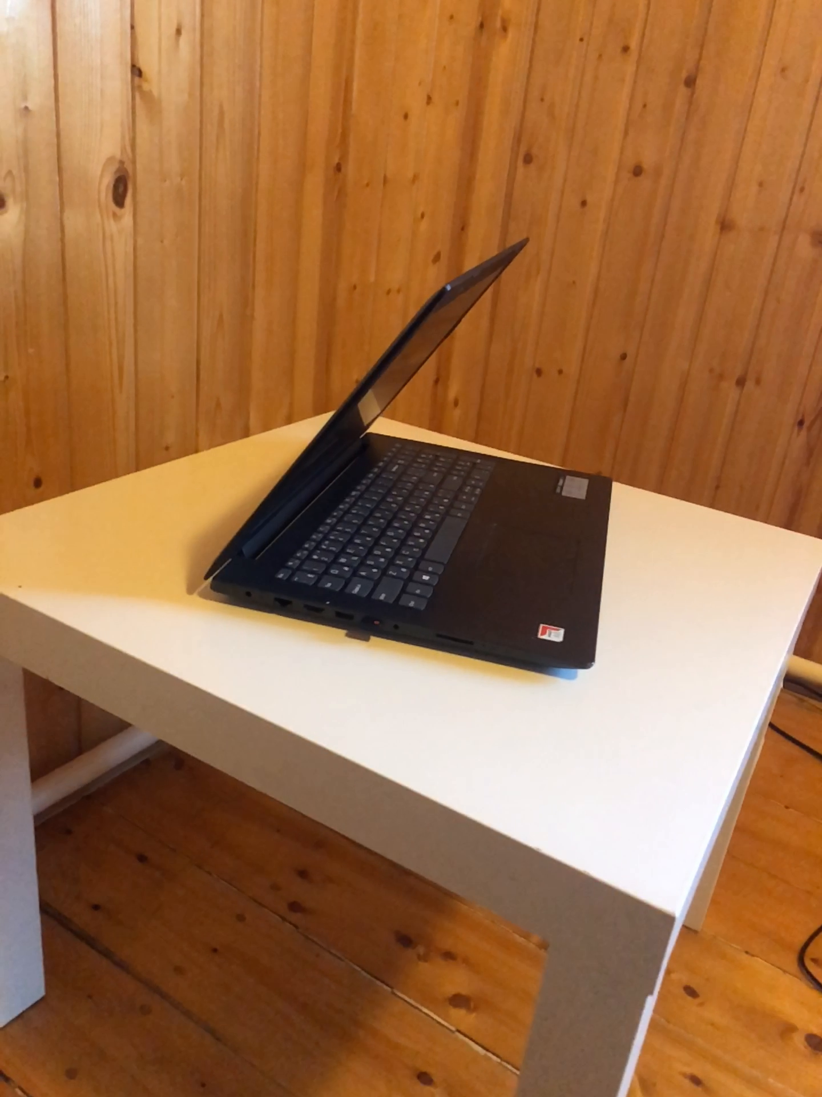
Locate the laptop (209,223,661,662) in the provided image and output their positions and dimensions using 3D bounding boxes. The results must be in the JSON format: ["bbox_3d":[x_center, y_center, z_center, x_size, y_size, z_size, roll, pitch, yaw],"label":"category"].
[{"bbox_3d":[0.043,-0.118,0.699,0.249,0.206,0.375,11,24,10],"label":"laptop"}]
